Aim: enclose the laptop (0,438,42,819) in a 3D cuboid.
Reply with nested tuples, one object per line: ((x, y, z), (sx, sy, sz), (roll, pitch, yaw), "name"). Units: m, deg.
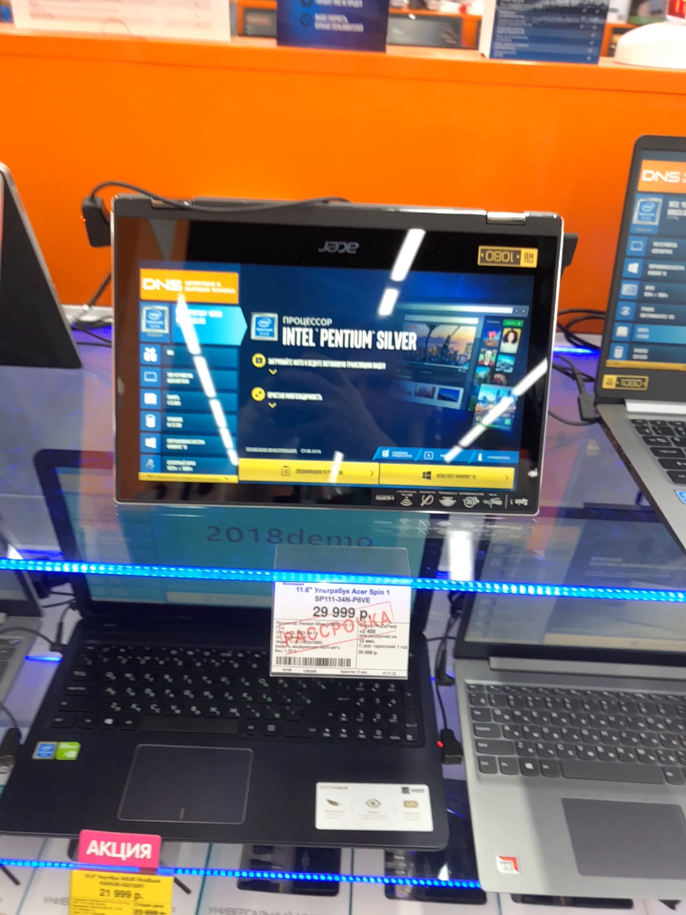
((-0.505, 0.138, 0.650), (0.363, 0.202, 0.223), (3, 34, 0), "laptop")

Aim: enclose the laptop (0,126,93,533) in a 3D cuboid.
((-0.397, -0.068, 0.630), (0.299, 0.149, 0.182), (3, -5, -3), "laptop")

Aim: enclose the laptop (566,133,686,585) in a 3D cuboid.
((0.393, -0.086, 0.548), (0.350, 0.209, 0.273), (2, 31, -4), "laptop")

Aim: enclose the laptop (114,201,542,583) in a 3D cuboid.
((-0.020, -0.022, 0.619), (0.277, 0.142, 0.181), (3, -8, 2), "laptop")

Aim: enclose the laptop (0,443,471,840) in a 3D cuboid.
((-0.099, 0.149, 0.660), (0.360, 0.222, 0.240), (3, 30, -2), "laptop")
